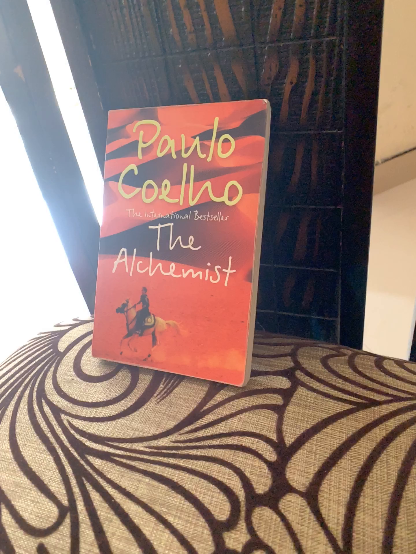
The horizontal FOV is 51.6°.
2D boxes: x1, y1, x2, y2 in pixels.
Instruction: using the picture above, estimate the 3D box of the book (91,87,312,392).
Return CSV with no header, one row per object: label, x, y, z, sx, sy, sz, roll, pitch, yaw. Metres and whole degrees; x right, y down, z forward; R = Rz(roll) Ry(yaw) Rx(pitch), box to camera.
book,-0.007,-0.032,0.319,0.140,0.200,0.030,6,-3,23
